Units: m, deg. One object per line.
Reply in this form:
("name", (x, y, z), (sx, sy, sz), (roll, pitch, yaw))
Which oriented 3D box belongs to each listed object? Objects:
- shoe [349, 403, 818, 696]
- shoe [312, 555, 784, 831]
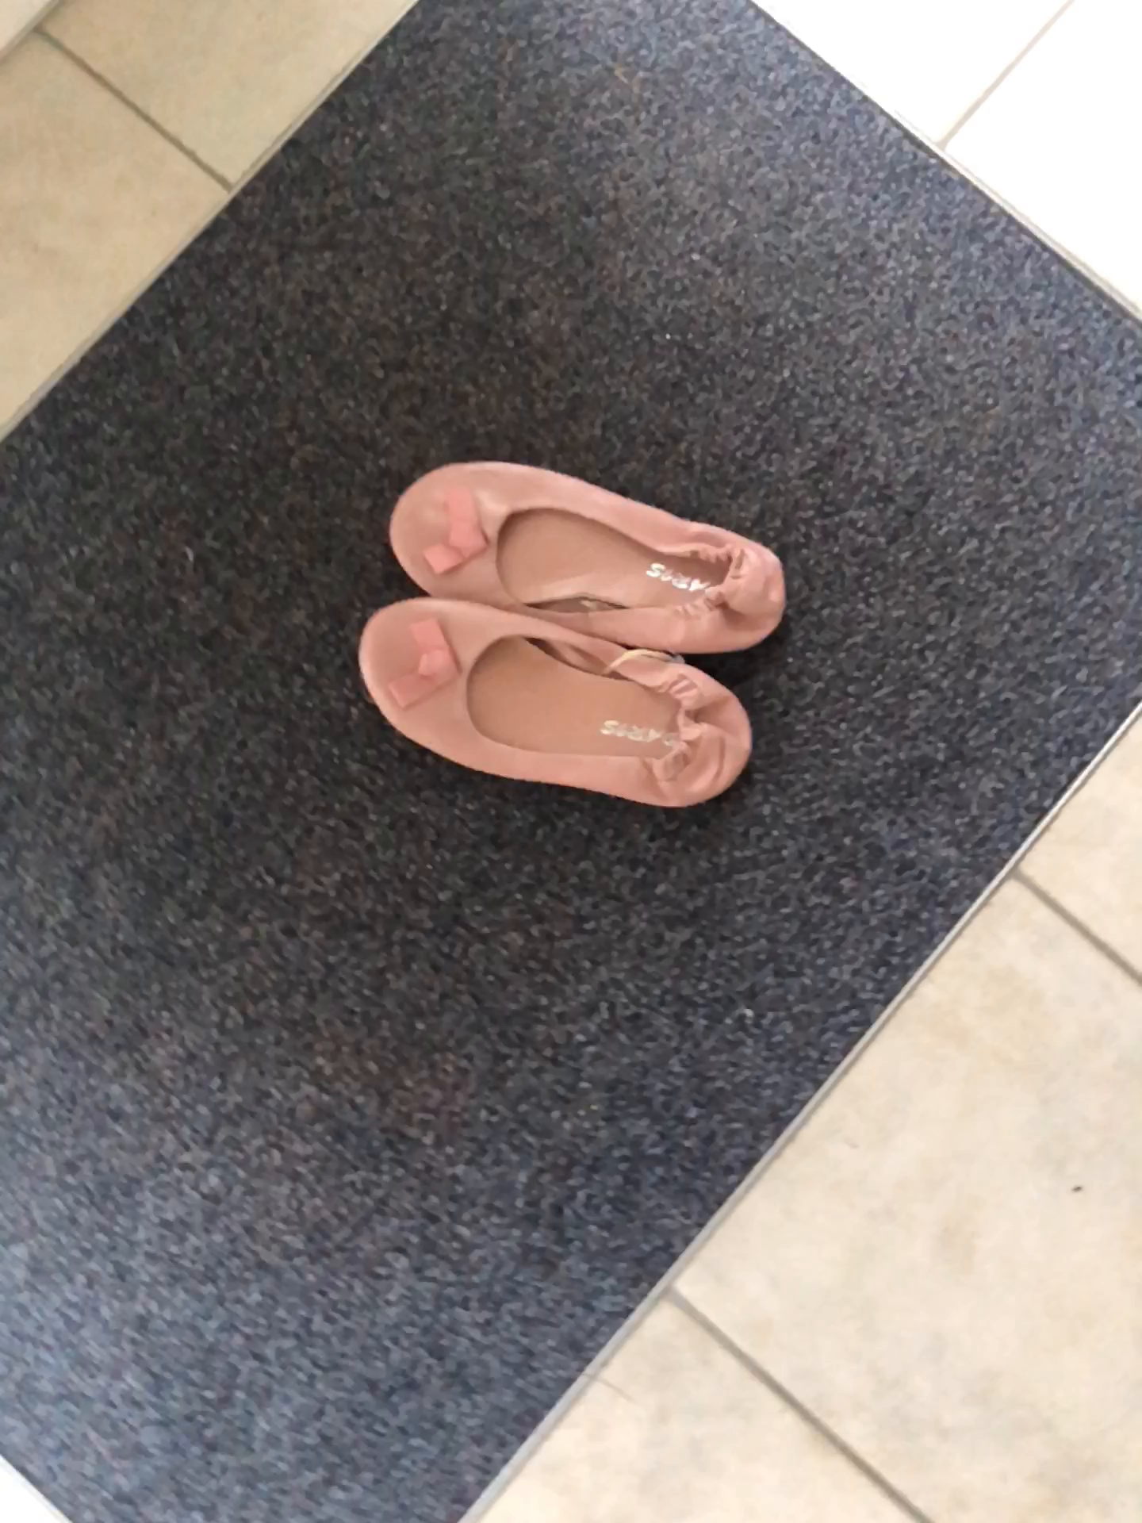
("shoe", (0.007, -0.114, 0.701), (0.230, 0.100, 0.090), (13, 84, 1))
("shoe", (-0.011, -0.034, 0.698), (0.230, 0.100, 0.090), (13, 84, 1))
